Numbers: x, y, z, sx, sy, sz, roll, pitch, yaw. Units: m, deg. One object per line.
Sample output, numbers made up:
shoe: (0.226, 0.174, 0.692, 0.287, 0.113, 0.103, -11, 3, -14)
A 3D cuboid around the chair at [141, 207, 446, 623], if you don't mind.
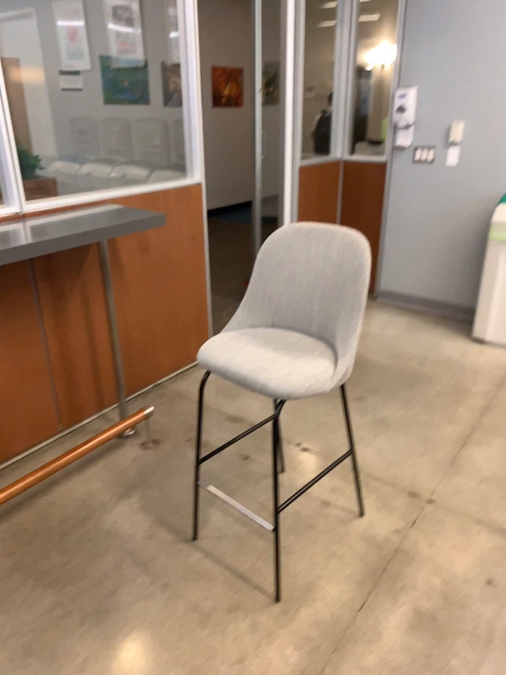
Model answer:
chair: (0.158, 0.180, 1.852, 0.592, 1.095, 0.811, 19, 30, 37)
